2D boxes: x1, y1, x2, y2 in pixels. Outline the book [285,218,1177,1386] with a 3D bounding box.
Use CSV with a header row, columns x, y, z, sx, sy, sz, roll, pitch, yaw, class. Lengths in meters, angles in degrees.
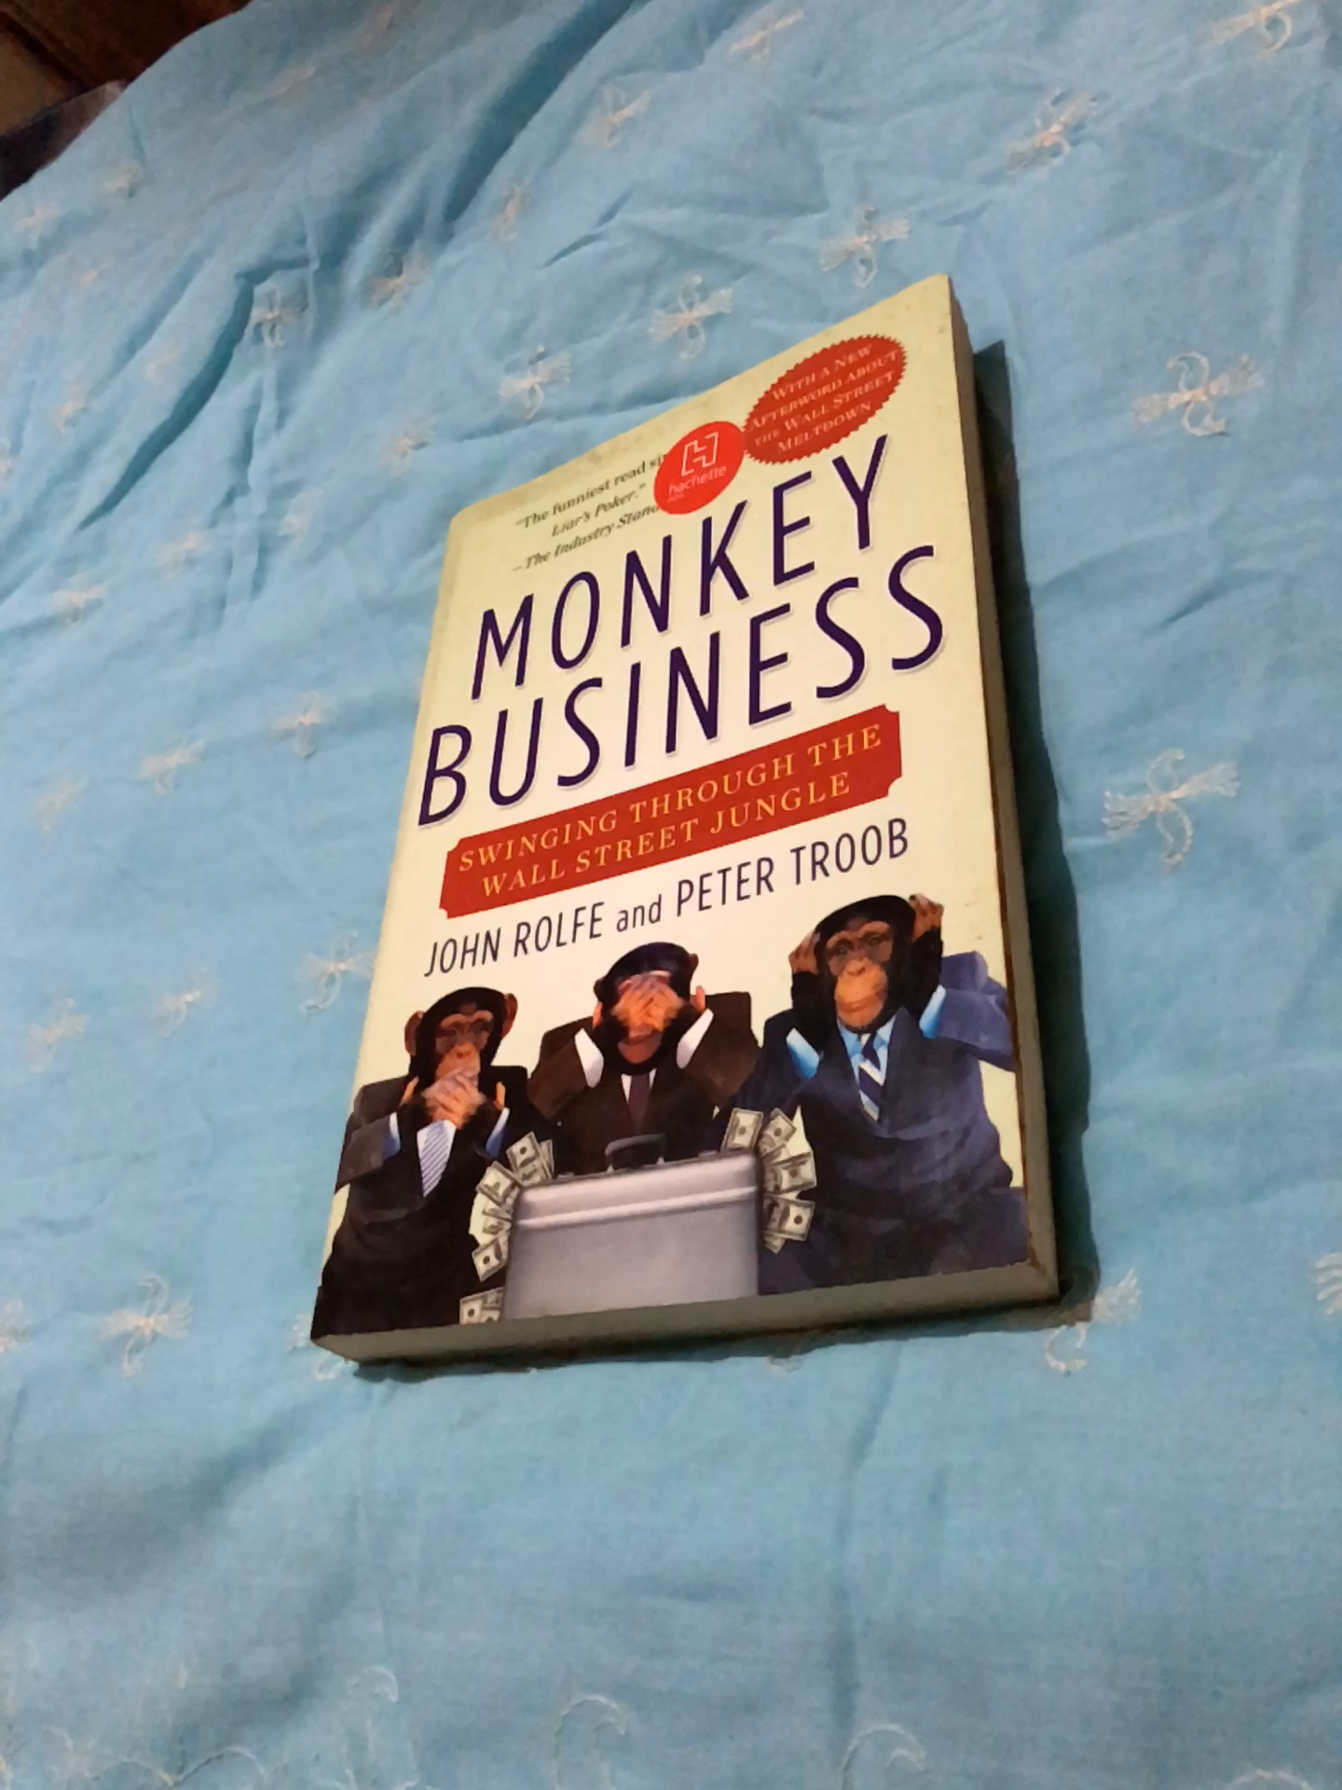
x,y,z,sx,sy,sz,roll,pitch,yaw,class
0.006,-0.024,0.341,0.170,0.040,0.240,-17,55,28,book
